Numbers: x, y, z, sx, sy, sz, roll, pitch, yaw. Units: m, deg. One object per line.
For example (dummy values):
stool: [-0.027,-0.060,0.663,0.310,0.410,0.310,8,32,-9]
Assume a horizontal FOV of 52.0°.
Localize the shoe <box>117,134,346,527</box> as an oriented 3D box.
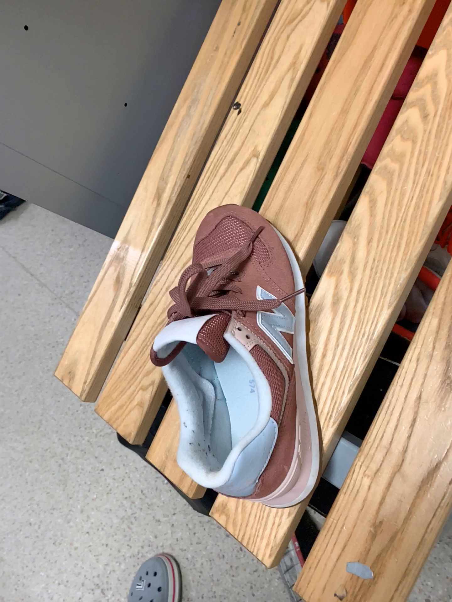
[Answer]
shoe: [-0.004,0.025,0.366,0.110,0.105,0.260,-20,66,30]
